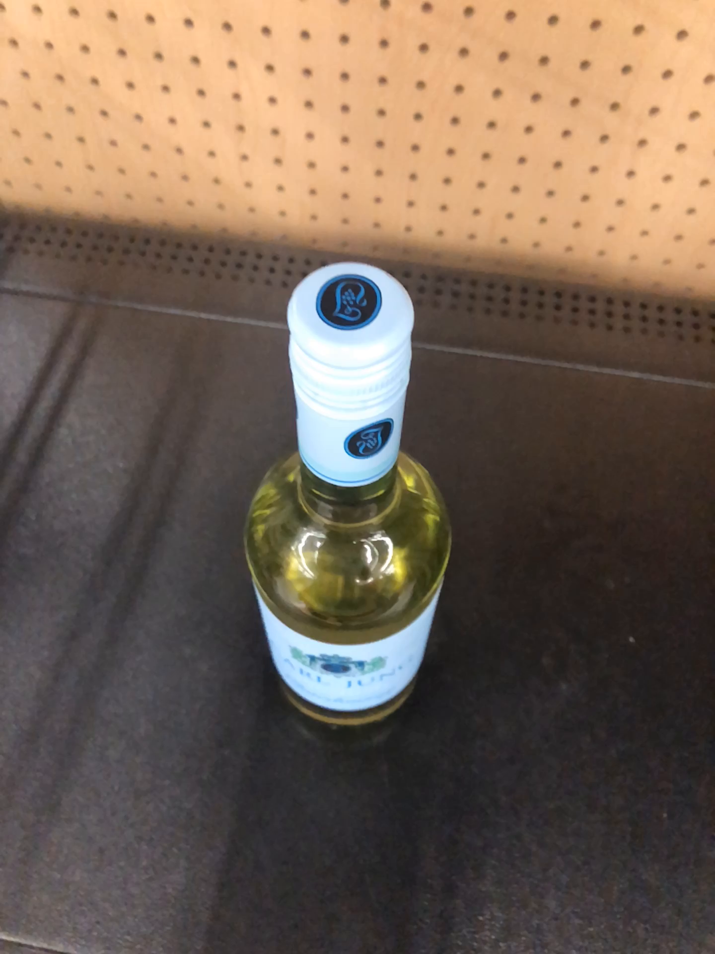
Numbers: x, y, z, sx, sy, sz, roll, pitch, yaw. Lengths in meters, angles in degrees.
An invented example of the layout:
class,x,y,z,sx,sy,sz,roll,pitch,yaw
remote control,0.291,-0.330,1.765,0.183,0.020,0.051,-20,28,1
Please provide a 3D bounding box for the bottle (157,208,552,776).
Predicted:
class,x,y,z,sx,sy,sz,roll,pitch,yaw
bottle,0.001,0.048,0.319,0.080,0.319,0.080,0,61,0
